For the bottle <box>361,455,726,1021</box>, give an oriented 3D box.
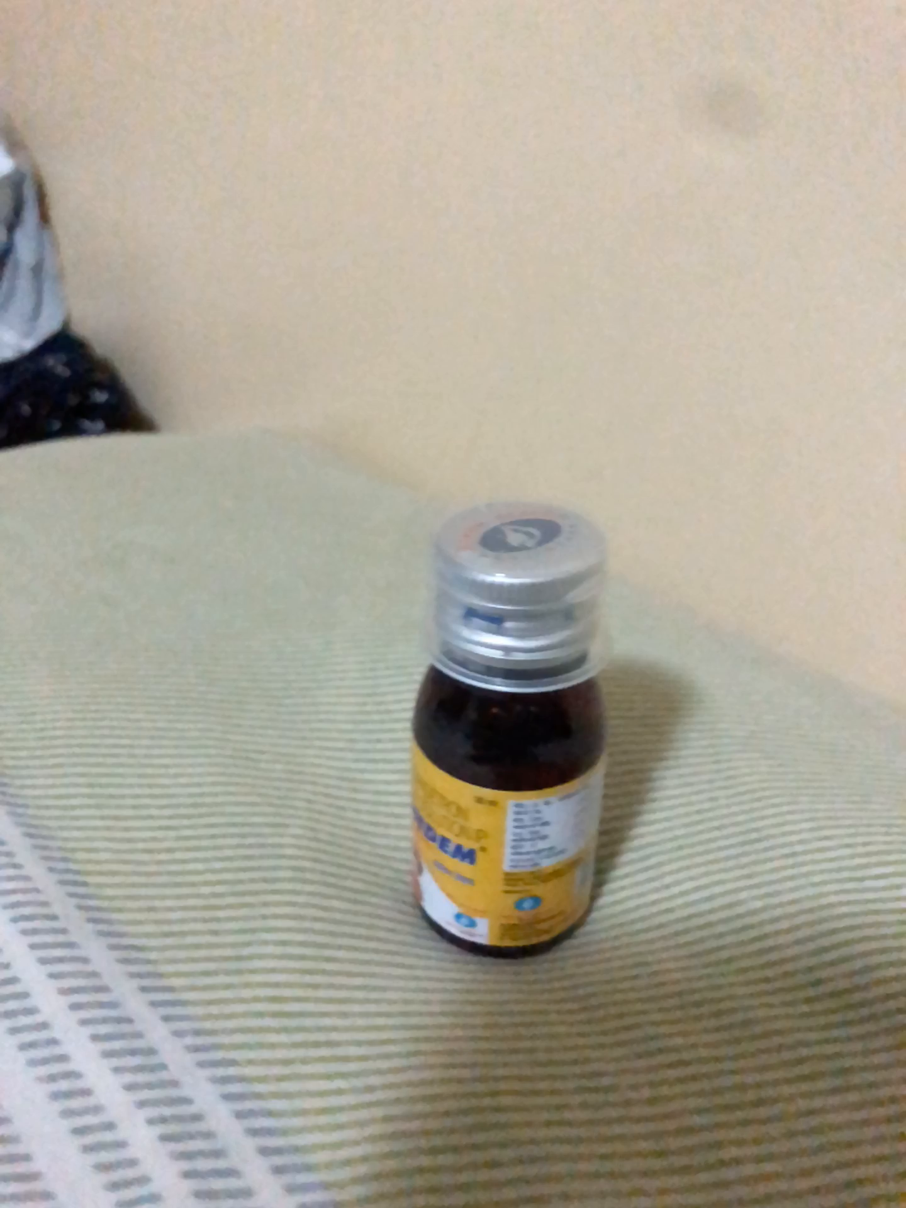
[{"bbox_3d":[0.012,0.022,0.176,0.040,0.080,0.040,1,31,-1],"label":"bottle"}]
